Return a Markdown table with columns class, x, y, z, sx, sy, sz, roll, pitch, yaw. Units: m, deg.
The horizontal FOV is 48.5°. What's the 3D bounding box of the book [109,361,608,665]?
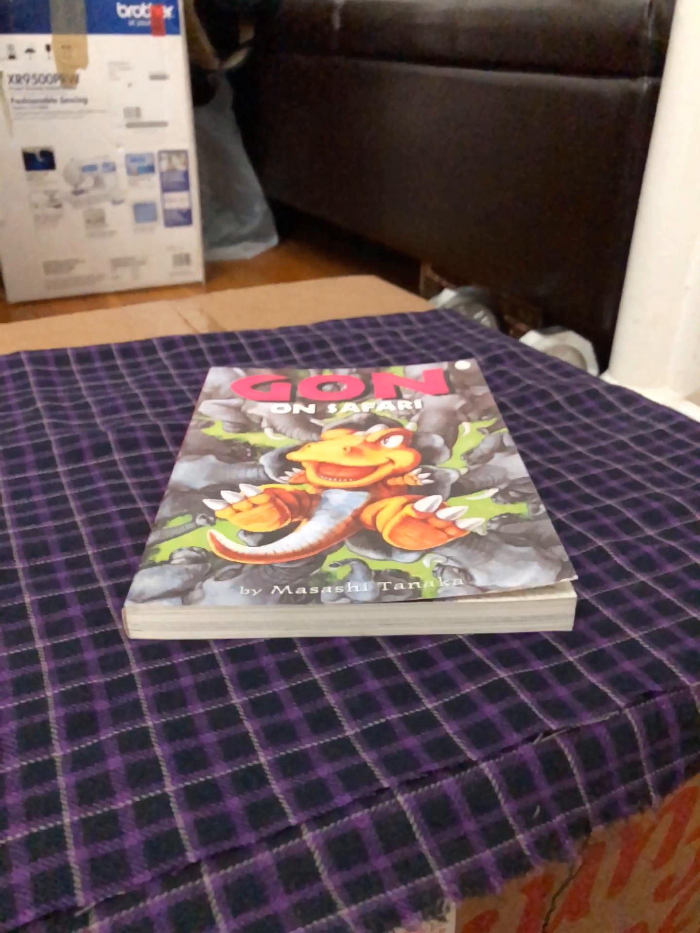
| class | x | y | z | sx | sy | sz | roll | pitch | yaw |
| --- | --- | --- | --- | --- | --- | --- | --- | --- | --- |
| book | 0.001 | 0.002 | 0.331 | 0.150 | 0.020 | 0.211 | 0 | 29 | -1 |
